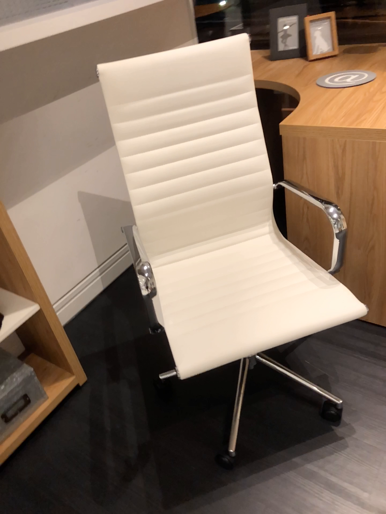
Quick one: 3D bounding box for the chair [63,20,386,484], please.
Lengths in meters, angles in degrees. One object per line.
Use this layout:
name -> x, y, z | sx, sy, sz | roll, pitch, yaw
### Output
chair -> 0.120, -0.023, 1.215 | 0.630, 1.012, 0.635 | -17, 35, -8
